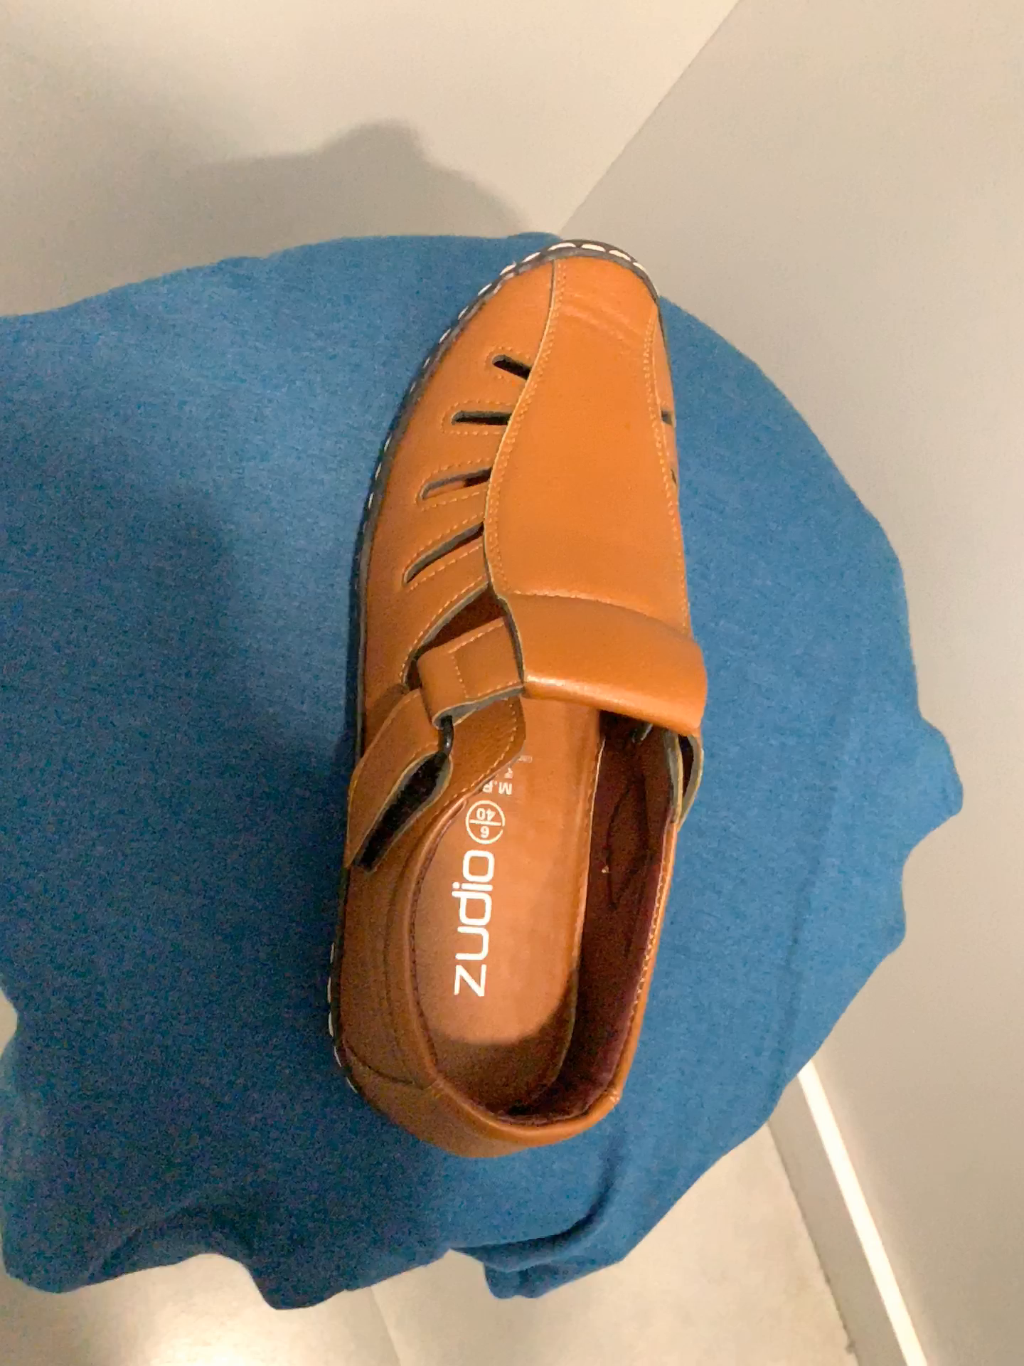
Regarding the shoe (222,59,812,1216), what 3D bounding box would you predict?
[{"bbox_3d":[0.000,-0.010,0.303,0.100,0.100,0.270,13,79,-19],"label":"shoe"}]
